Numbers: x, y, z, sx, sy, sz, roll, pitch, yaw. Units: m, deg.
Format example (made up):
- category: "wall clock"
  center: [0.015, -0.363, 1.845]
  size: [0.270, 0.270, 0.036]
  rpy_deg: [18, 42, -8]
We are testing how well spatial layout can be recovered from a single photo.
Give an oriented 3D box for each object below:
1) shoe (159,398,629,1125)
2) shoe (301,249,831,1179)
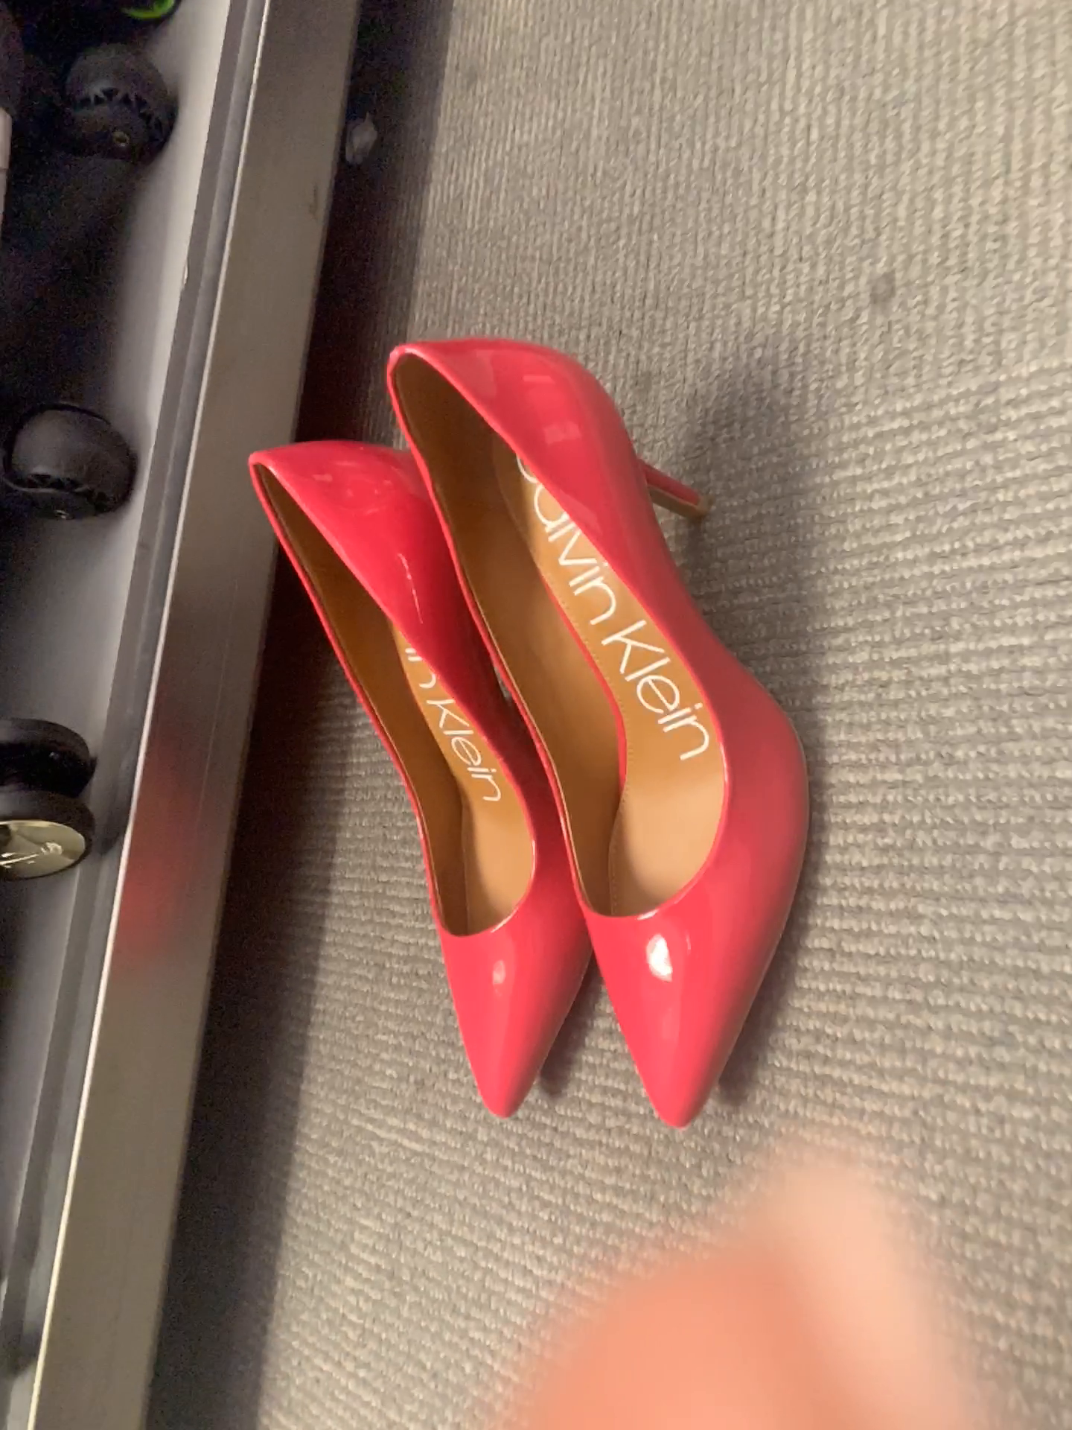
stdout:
- category: "shoe"
  center: [-0.041, 0.022, 0.377]
  size: [0.075, 0.129, 0.208]
  rpy_deg: [-15, 69, 46]
- category: "shoe"
  center: [0.012, 0.005, 0.313]
  size: [0.074, 0.120, 0.216]
  rpy_deg: [-15, 69, 46]
